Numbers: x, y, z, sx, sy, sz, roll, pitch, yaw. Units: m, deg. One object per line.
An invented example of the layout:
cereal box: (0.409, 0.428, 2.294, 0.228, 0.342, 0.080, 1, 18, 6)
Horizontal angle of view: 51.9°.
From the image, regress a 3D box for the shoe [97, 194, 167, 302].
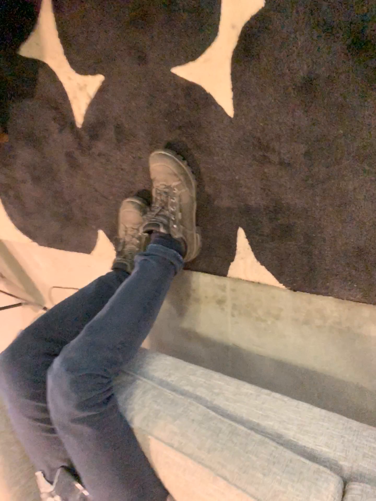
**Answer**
shoe: (-0.150, -0.009, 1.077, 0.120, 0.077, 0.285, 6, 116, 32)

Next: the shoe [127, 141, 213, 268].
shoe: (-0.040, -0.105, 0.945, 0.121, 0.077, 0.288, -1, 113, 34)
